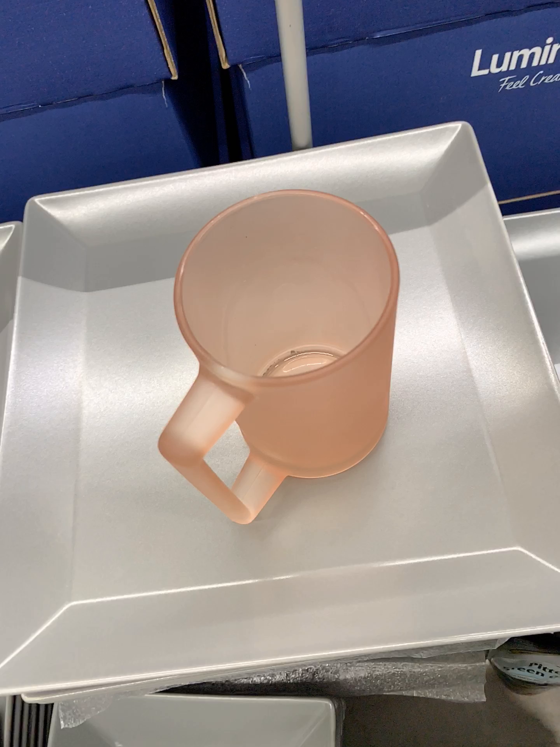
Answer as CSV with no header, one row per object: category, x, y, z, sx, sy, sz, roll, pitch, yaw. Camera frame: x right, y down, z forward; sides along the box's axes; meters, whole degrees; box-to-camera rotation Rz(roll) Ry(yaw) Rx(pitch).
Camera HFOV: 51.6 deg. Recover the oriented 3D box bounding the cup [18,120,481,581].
cup,-0.004,-0.007,0.225,0.095,0.095,0.120,32,71,22
